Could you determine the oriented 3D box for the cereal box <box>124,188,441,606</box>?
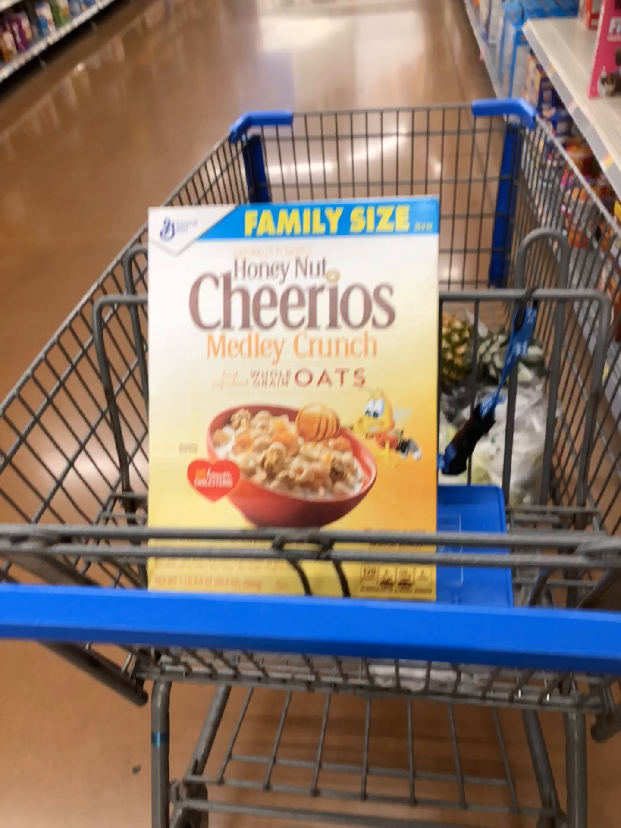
[{"bbox_3d":[-0.022,-0.012,0.576,0.250,0.320,0.070,-1,0,7],"label":"cereal box"}]
